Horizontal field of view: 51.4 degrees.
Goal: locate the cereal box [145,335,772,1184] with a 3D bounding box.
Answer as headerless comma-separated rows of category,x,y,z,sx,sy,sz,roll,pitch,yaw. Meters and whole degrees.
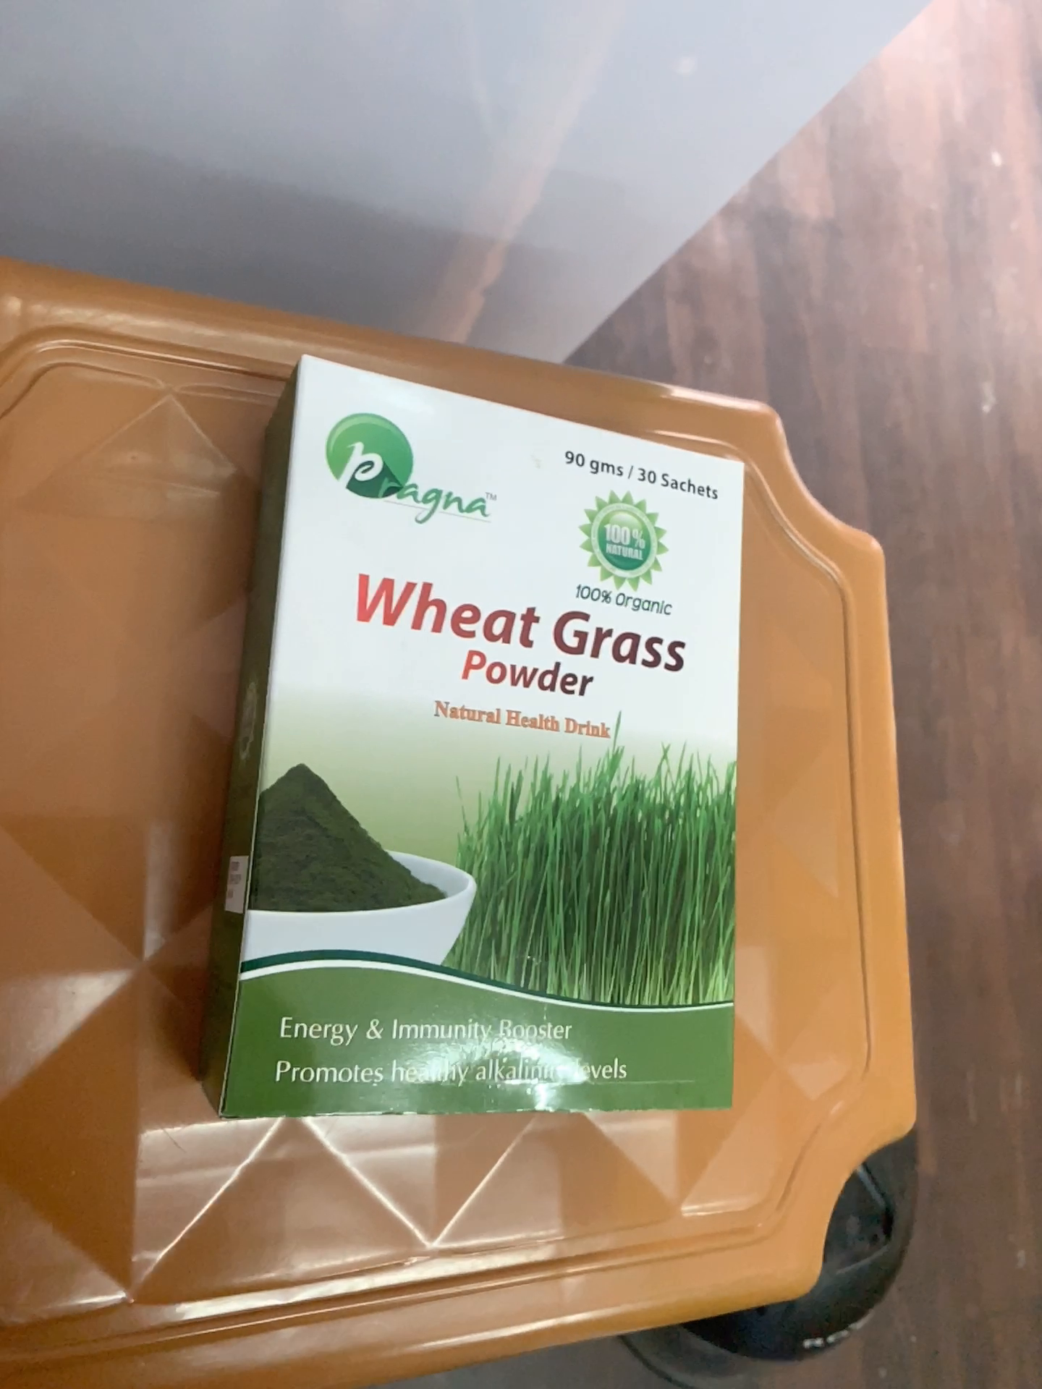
cereal box,-0.011,0.019,0.263,0.130,0.050,0.170,8,80,-22
